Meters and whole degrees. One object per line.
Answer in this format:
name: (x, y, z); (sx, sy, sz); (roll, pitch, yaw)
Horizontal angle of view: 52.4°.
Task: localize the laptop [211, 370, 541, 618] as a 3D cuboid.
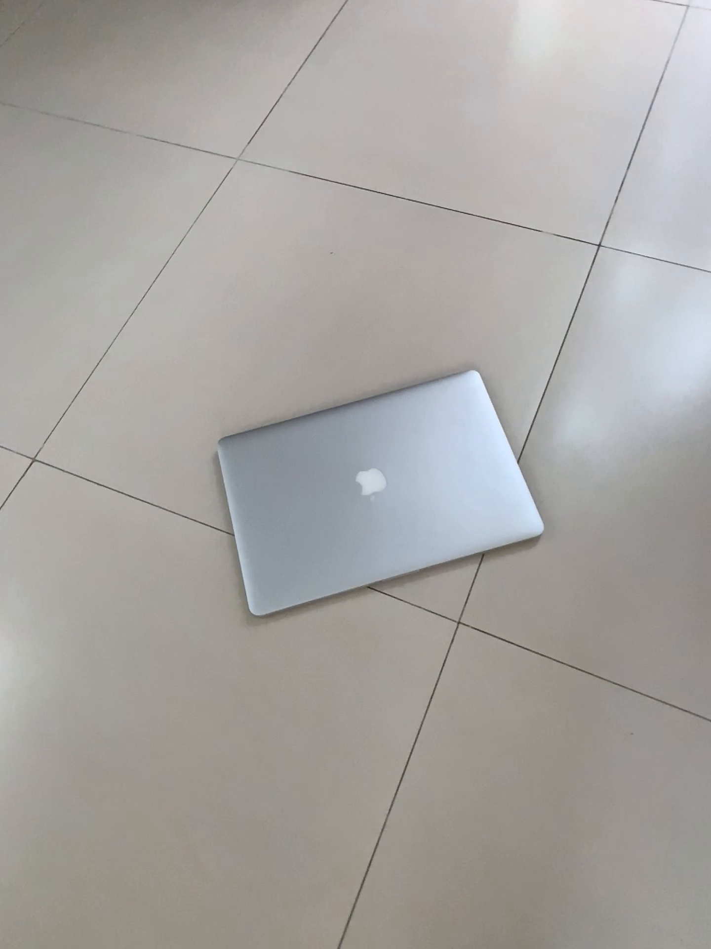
laptop: (0.014, 0.013, 0.892); (0.356, 0.001, 0.239); (-16, 63, -2)
